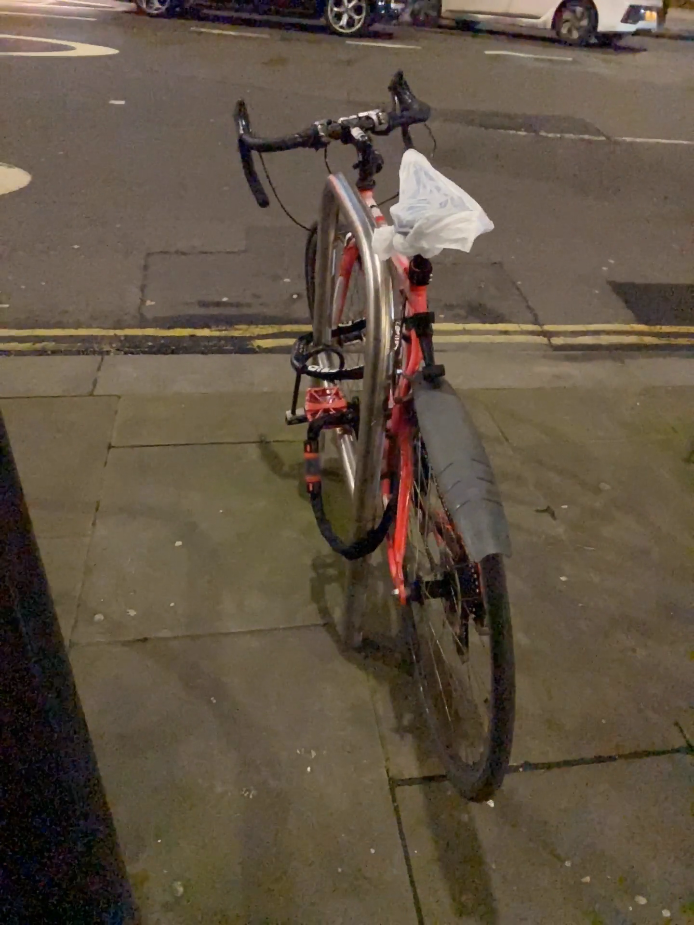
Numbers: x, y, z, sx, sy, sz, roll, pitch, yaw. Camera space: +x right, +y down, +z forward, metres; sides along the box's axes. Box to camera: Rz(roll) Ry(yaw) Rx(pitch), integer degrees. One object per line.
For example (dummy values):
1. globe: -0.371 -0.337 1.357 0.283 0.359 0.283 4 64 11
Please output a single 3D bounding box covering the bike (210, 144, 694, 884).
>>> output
1. bike: 0.010 -0.118 1.639 0.537 0.809 1.670 -4 36 -11
